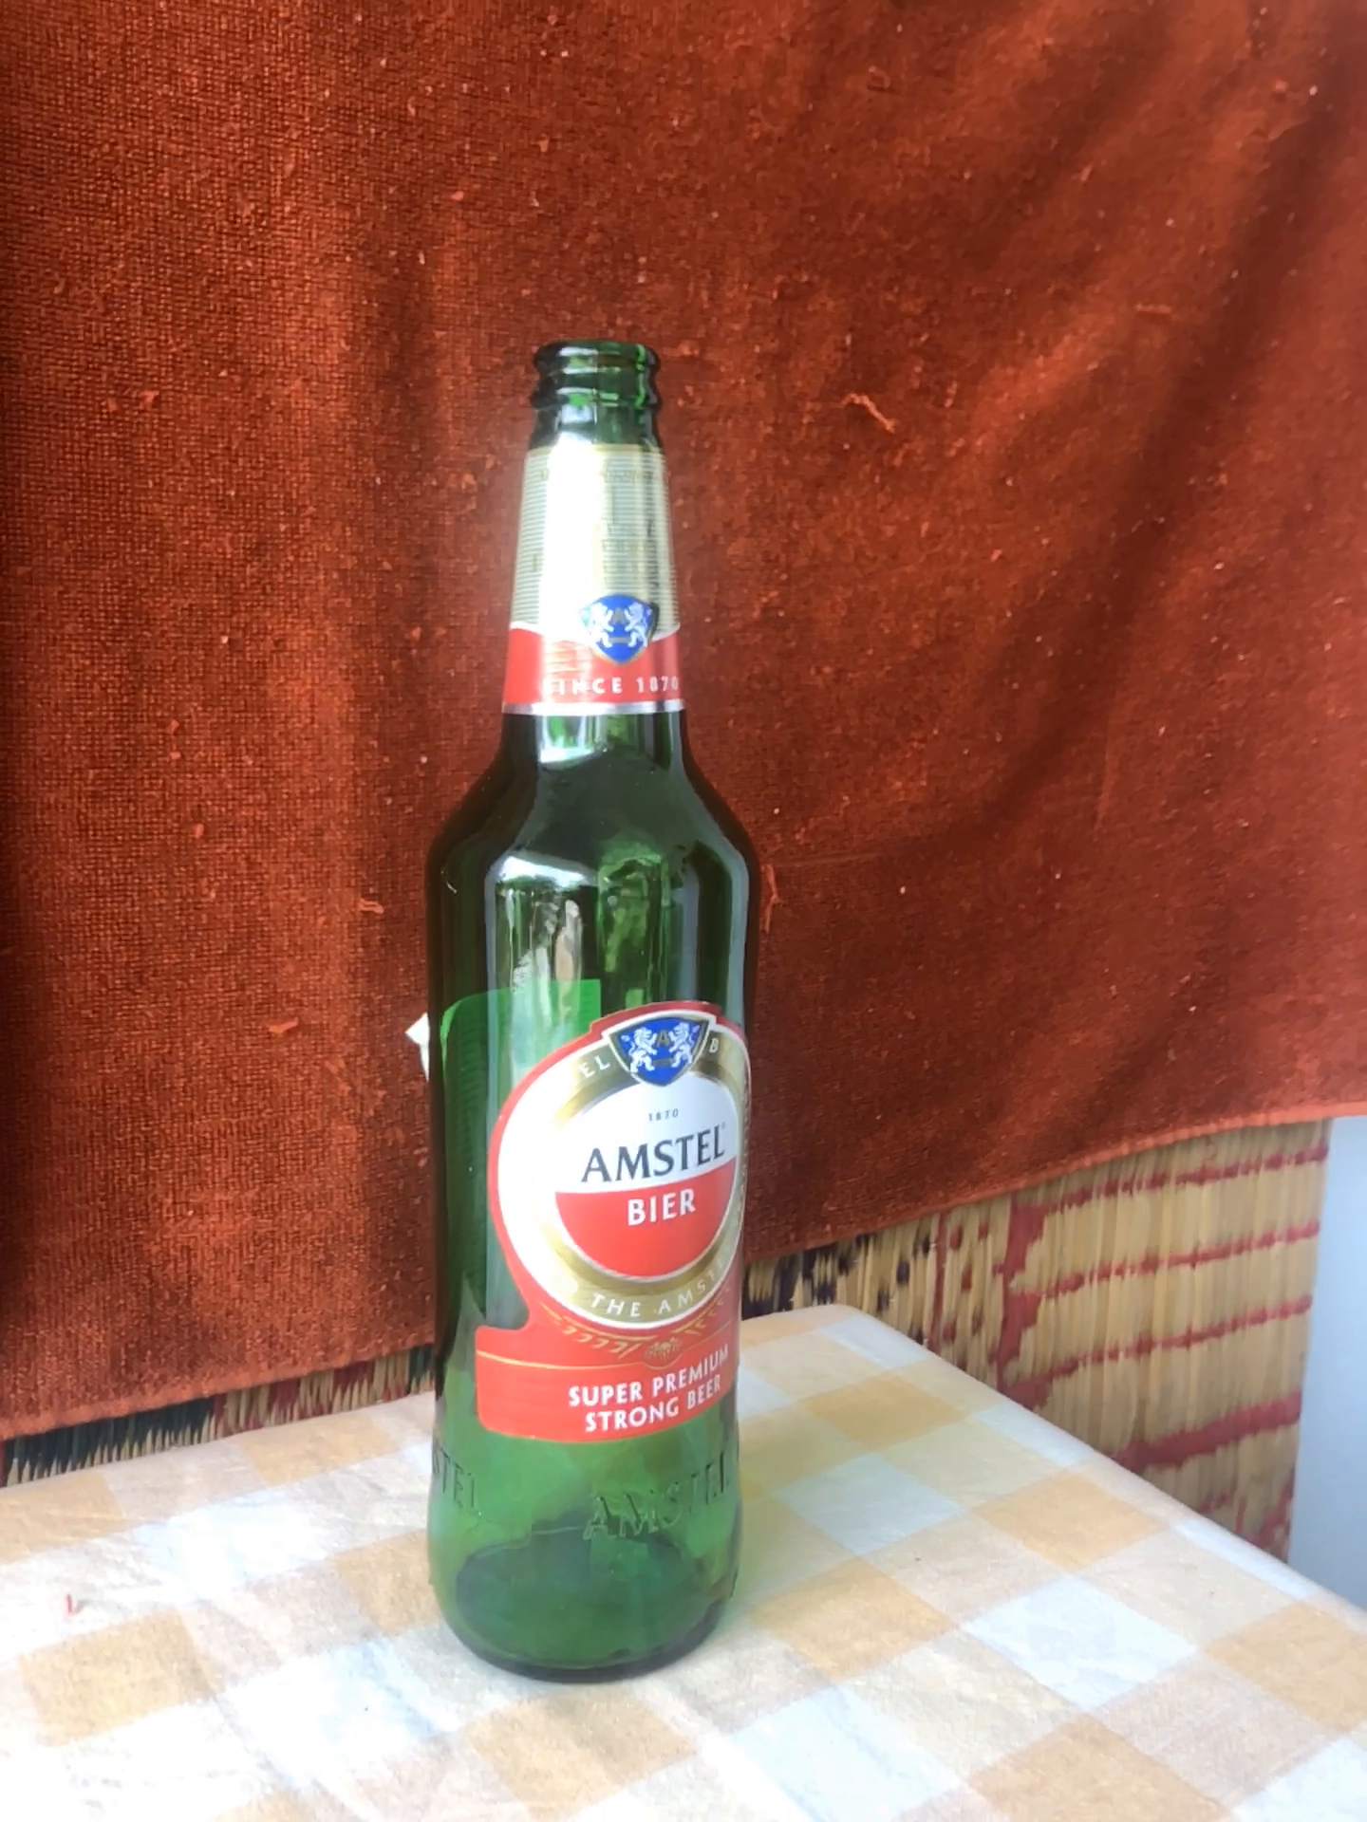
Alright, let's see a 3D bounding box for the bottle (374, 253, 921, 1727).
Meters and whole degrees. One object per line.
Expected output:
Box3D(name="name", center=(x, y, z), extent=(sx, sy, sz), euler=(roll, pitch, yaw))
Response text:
Box3D(name="bottle", center=(-0.015, 0.017, 0.322), extent=(0.080, 0.269, 0.080), euler=(3, 9, 0))
